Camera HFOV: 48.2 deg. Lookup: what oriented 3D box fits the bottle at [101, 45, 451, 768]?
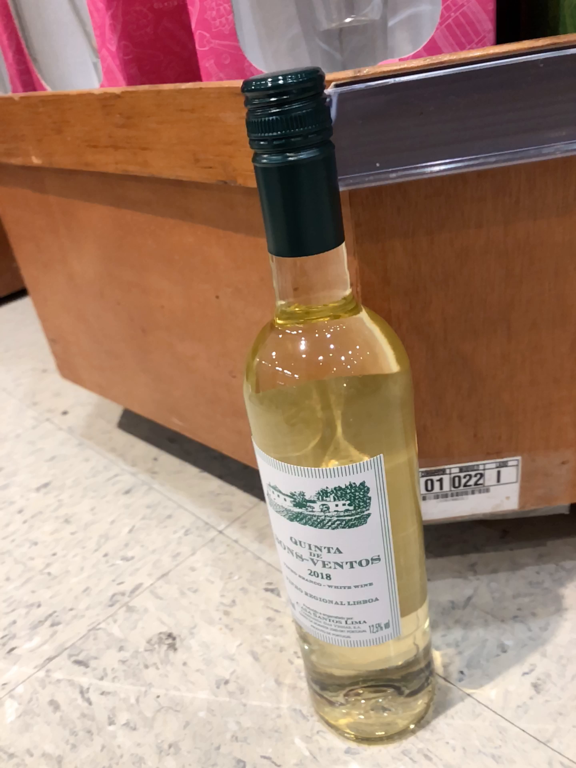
[{"bbox_3d":[0.019,0.032,0.284,0.080,0.308,0.081,-8,29,4],"label":"bottle"}]
